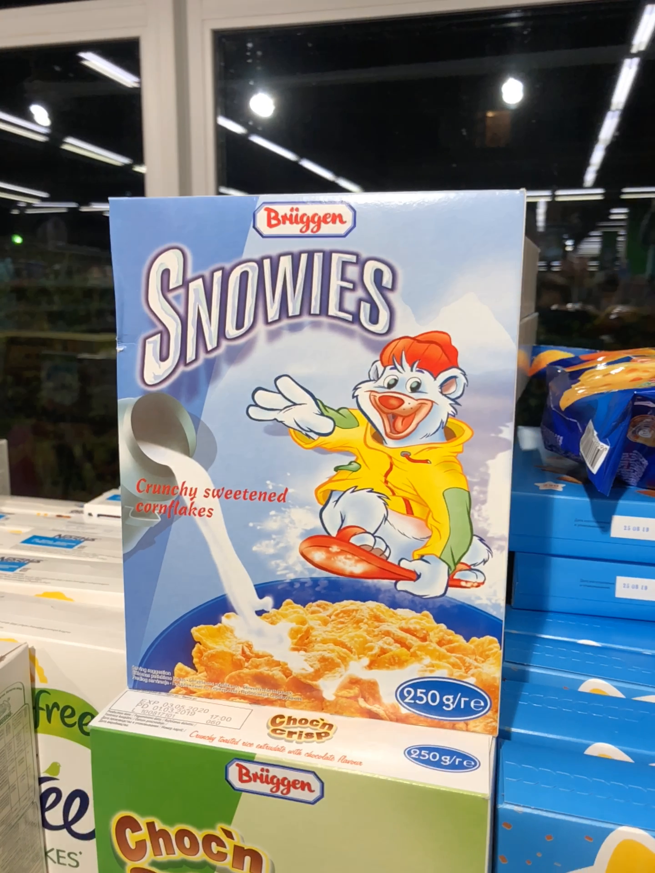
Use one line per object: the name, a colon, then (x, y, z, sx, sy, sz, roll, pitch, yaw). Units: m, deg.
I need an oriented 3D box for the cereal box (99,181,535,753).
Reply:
cereal box: (-0.005, 0.011, 0.377, 0.200, 0.259, 0.070, 3, 9, 12)
